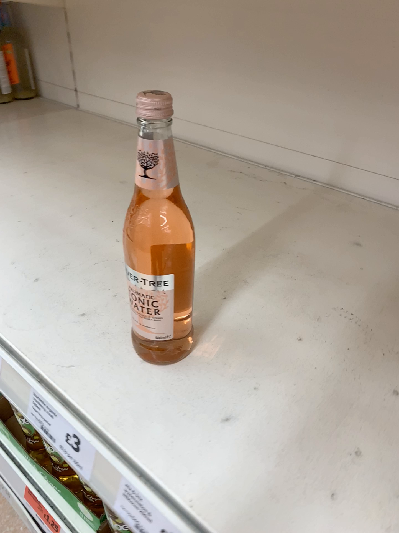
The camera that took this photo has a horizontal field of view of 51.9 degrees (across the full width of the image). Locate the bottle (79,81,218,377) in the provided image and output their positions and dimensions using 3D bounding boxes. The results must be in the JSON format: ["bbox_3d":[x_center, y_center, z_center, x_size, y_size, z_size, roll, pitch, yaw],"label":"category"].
[{"bbox_3d":[-0.040,-0.024,0.378,0.078,0.253,0.067,22,39,27],"label":"bottle"}]
